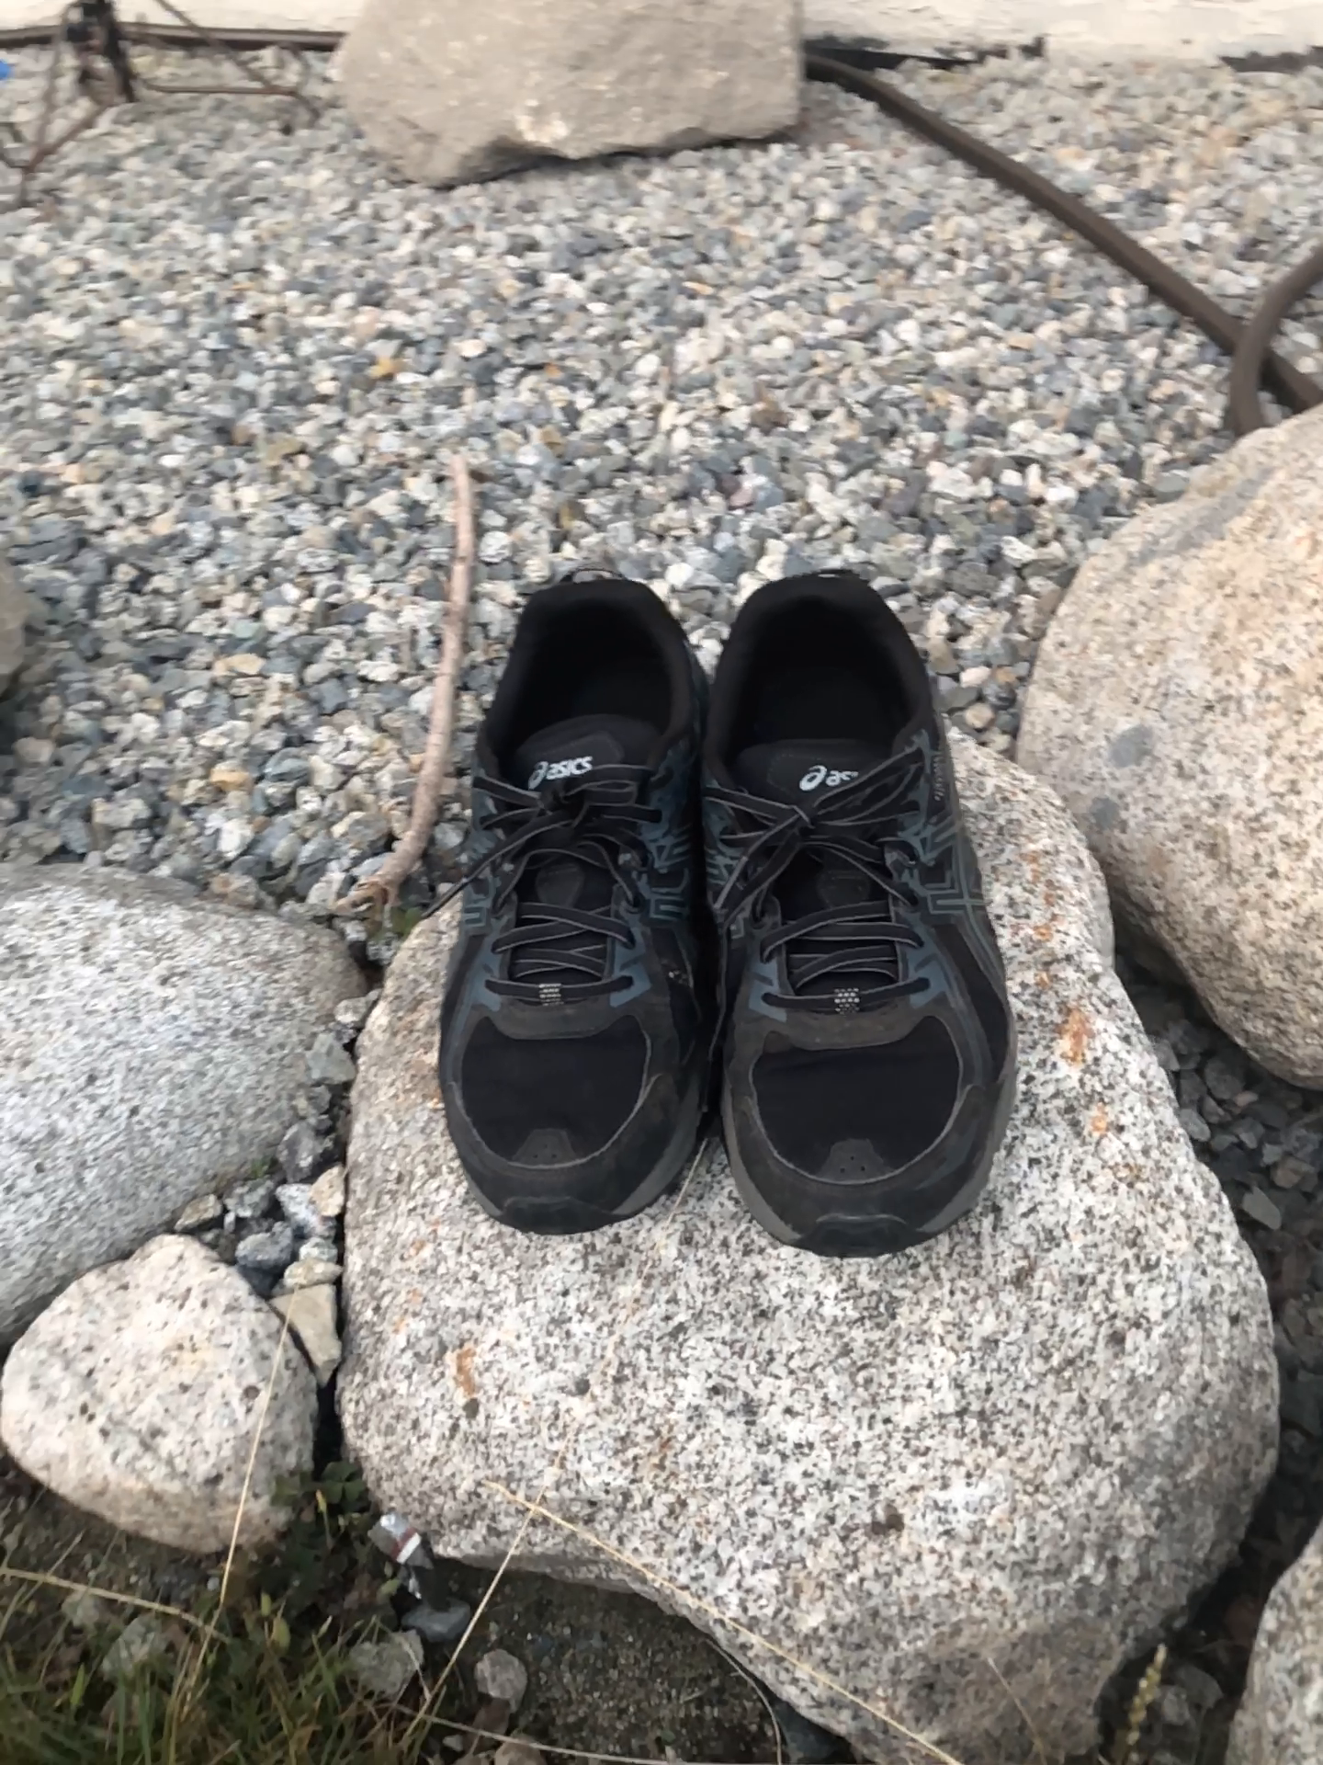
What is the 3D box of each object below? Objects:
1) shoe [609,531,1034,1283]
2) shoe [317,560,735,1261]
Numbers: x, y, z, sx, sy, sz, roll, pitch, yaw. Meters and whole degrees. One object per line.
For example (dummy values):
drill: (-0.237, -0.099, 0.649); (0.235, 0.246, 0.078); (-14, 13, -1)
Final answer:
shoe: (0.056, -0.006, 0.548); (0.120, 0.099, 0.292); (-2, 46, 6)
shoe: (-0.035, -0.003, 0.573); (0.120, 0.099, 0.282); (-2, 46, 6)
